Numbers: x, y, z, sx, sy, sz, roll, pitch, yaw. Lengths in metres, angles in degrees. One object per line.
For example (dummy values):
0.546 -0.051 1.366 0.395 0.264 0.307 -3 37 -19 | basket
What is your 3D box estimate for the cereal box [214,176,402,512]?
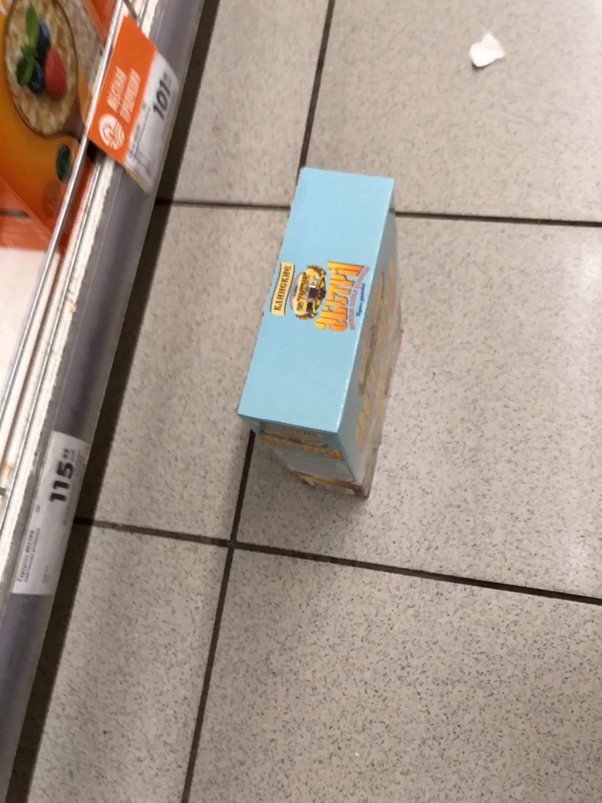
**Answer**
0.020 -0.020 0.445 0.060 0.210 0.150 10 76 13 | cereal box
